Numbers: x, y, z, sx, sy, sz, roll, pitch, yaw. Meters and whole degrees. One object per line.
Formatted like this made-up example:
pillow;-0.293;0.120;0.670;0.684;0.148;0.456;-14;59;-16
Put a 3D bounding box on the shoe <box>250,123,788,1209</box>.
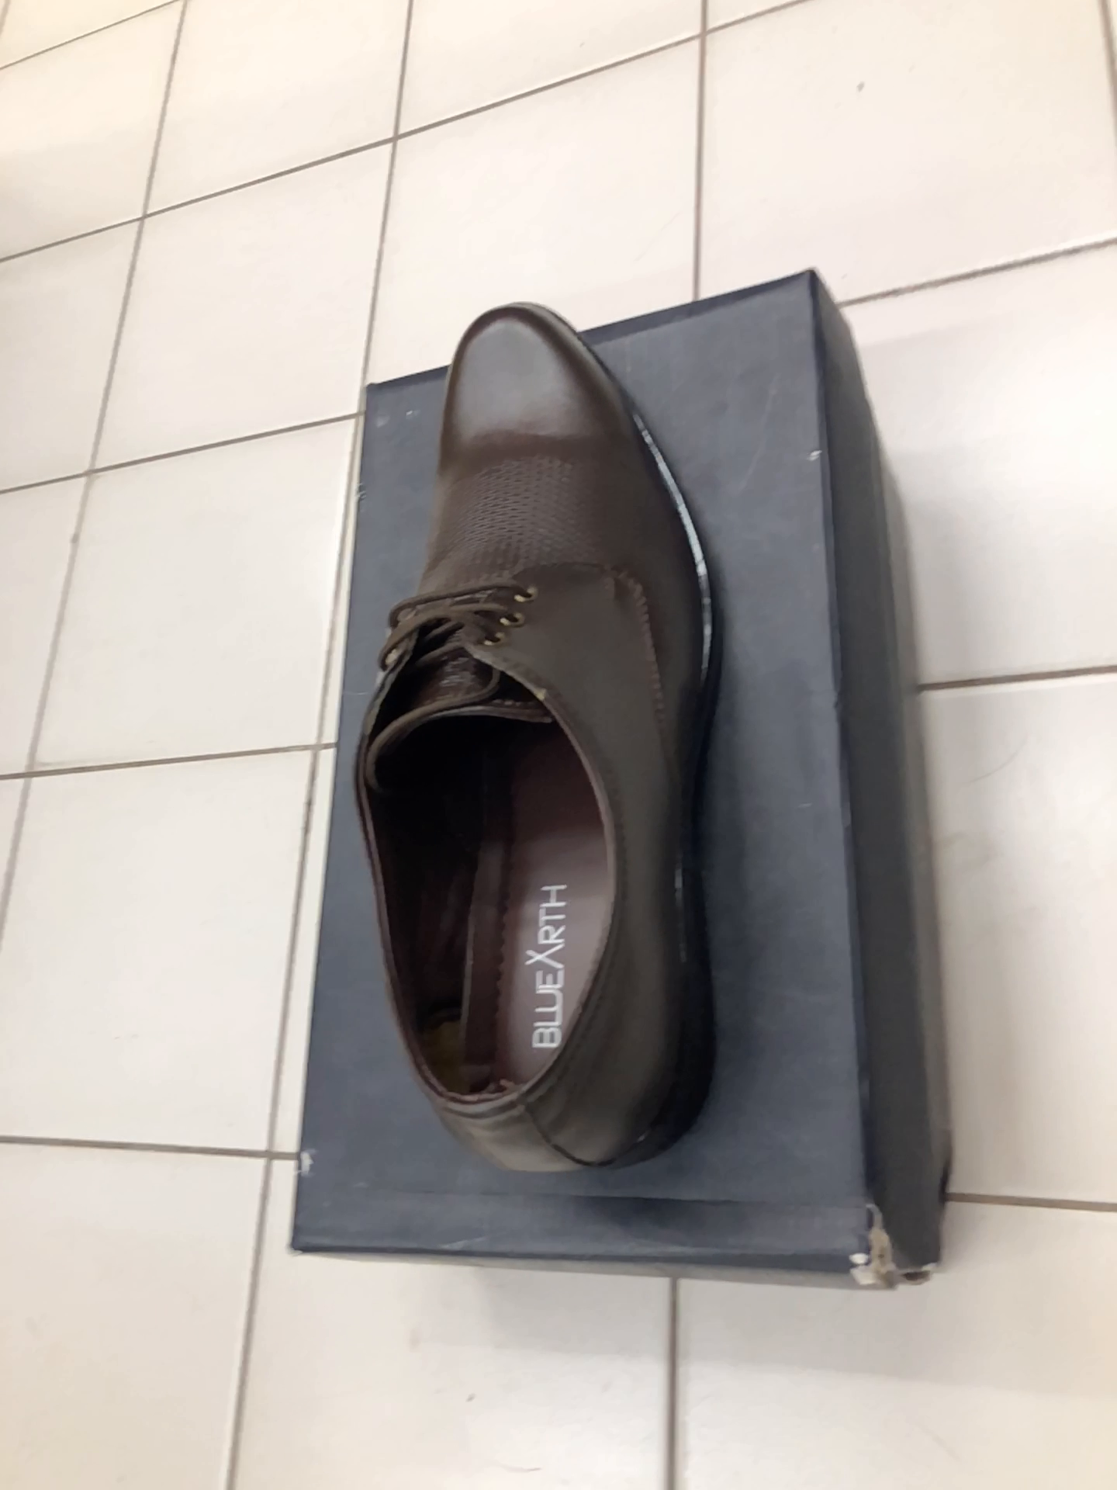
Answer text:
shoe;-0.010;-0.020;0.378;0.110;0.100;0.301;-10;68;22
